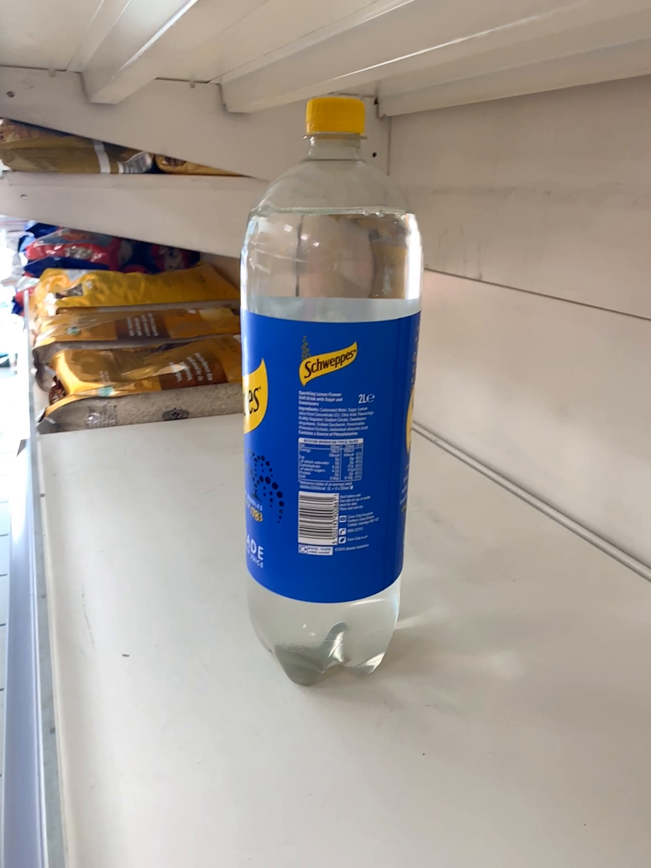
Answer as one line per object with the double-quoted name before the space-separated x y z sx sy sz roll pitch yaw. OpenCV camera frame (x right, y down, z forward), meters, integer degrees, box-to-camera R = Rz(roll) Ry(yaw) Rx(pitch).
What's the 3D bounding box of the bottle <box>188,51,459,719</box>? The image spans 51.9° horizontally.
"bottle" 0.003 -0.018 0.375 0.110 0.328 0.111 1 20 0
